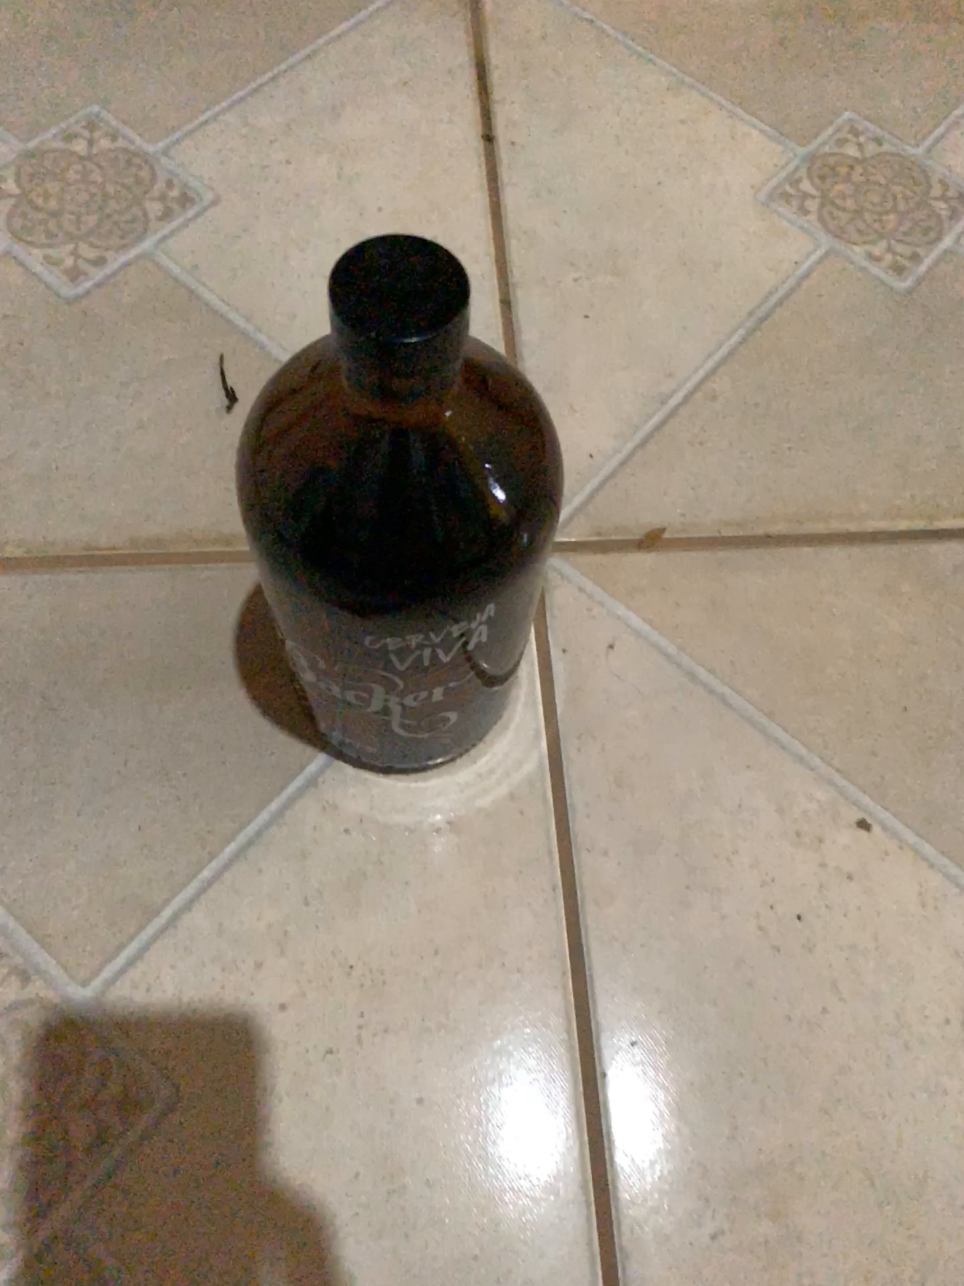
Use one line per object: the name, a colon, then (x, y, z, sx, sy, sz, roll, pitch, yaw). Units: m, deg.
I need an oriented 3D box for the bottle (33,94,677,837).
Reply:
bottle: (-0.028, -0.027, 0.302, 0.100, 0.210, 0.090, 28, 69, 9)
